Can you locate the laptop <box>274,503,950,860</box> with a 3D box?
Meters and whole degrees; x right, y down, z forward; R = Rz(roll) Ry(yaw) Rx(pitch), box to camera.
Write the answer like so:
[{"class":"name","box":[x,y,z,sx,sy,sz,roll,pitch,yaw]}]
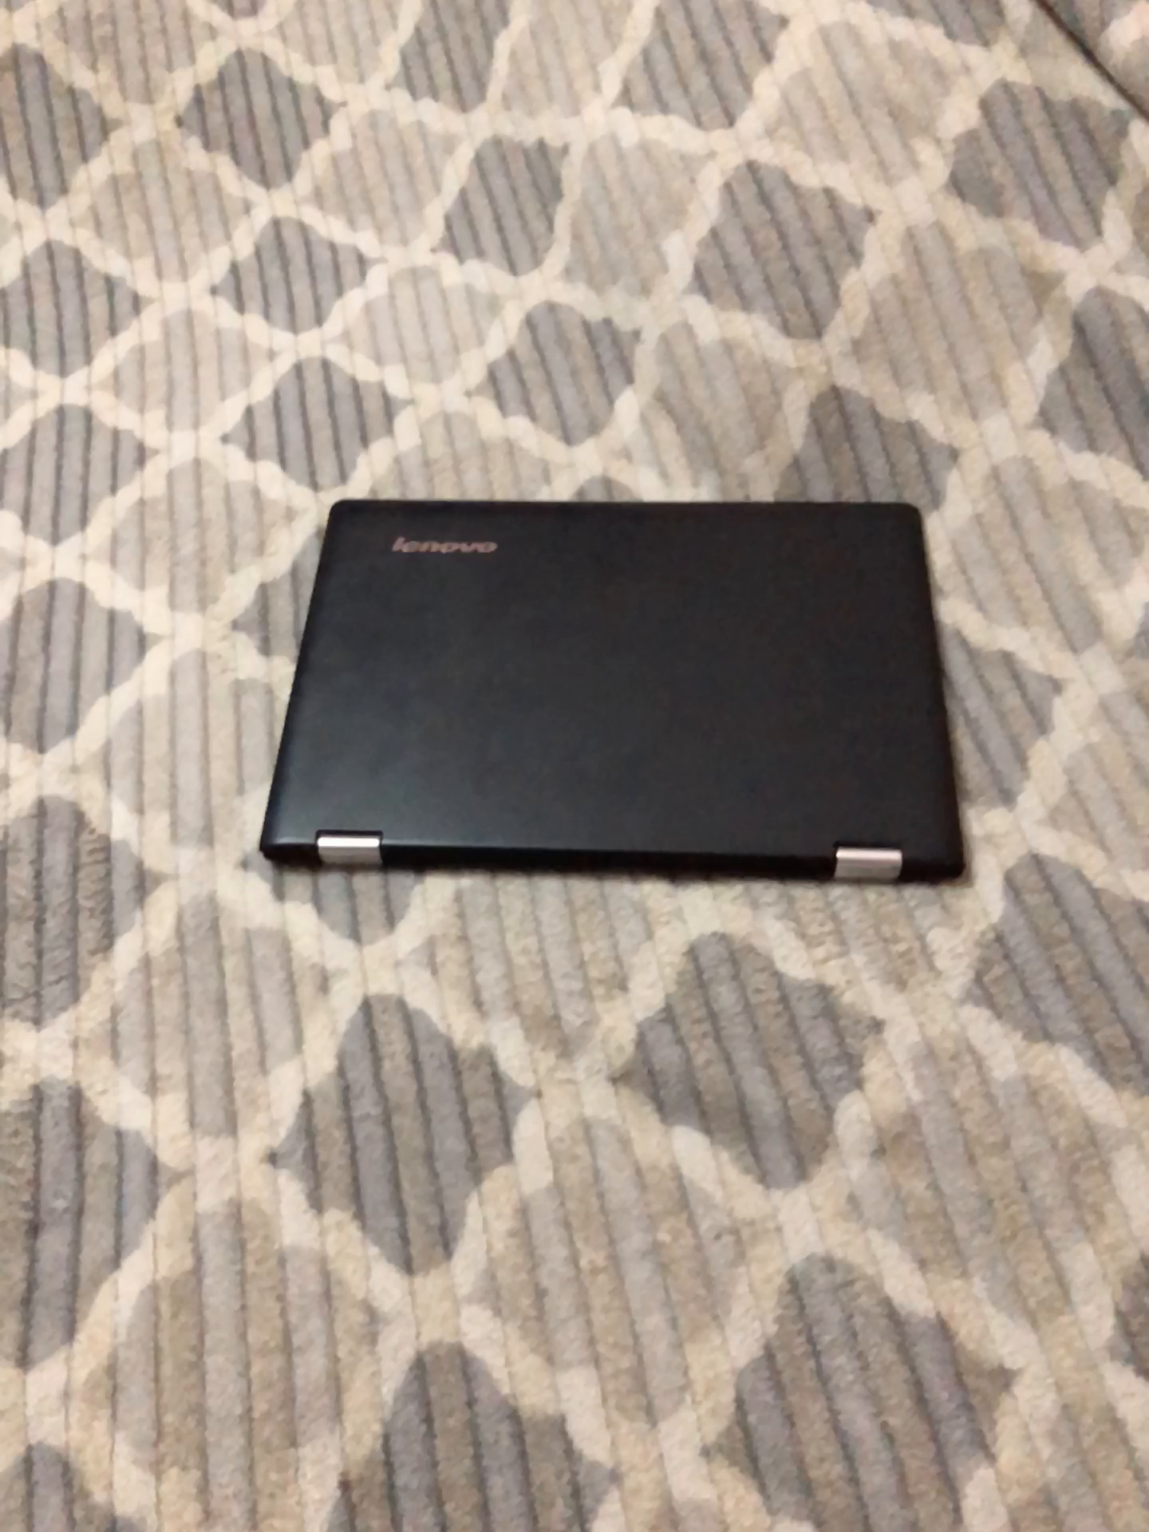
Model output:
[{"class":"laptop","box":[0.023,-0.056,0.699,0.339,0.005,0.231,1,59,3]}]
